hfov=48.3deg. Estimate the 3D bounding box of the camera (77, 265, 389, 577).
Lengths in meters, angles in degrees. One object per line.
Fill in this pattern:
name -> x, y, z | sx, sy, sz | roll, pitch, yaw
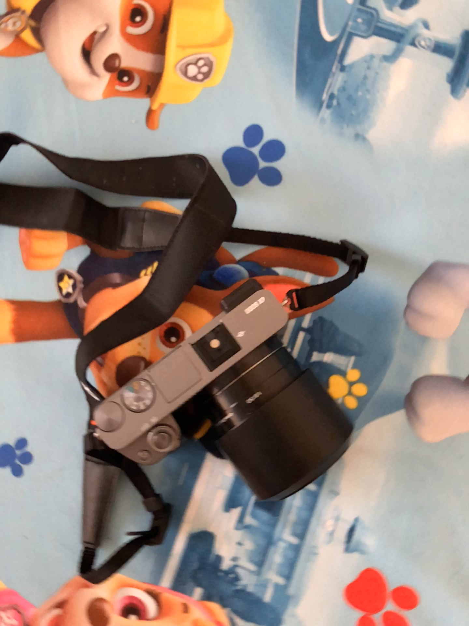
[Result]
camera -> 0.001, 0.061, 0.322 | 0.130, 0.080, 0.110 | -37, 80, 1
